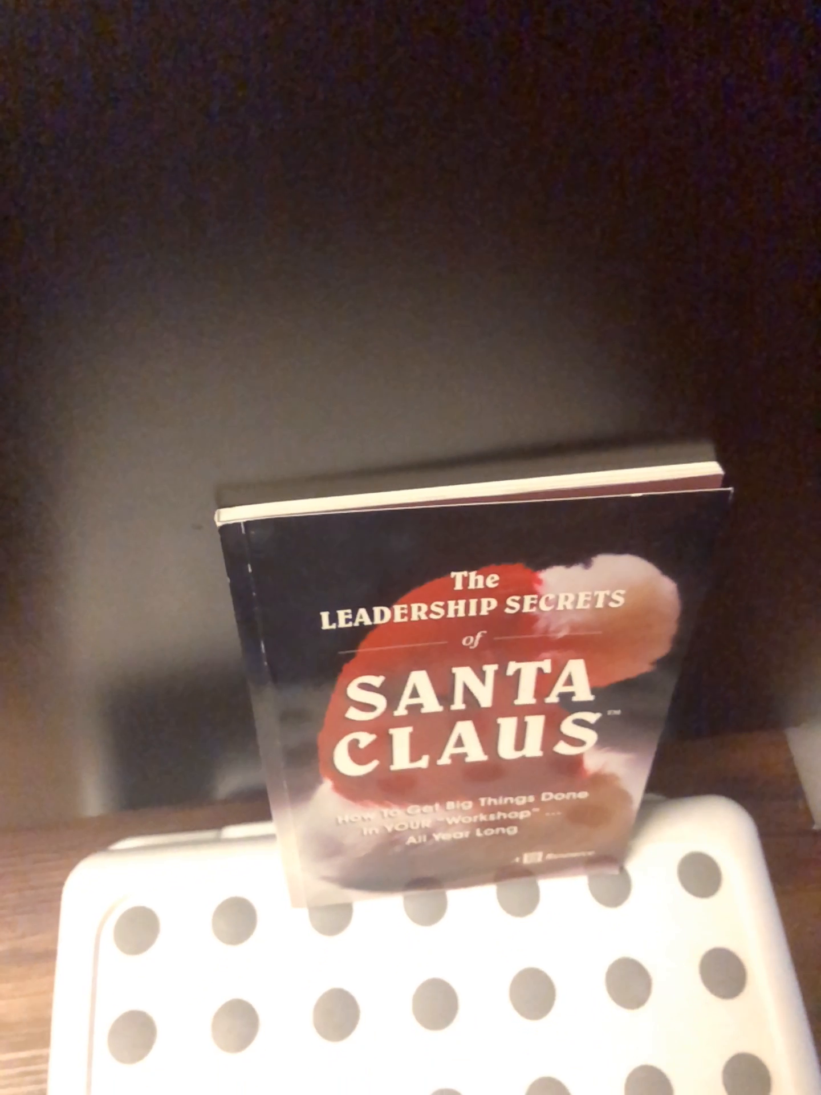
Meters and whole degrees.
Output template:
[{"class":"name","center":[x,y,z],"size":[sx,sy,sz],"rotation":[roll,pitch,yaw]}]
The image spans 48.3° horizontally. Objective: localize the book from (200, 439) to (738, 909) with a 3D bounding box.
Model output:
[{"class":"book","center":[0.020,0.063,0.344],"size":[0.160,0.225,0.010],"rotation":[-6,41,-6]}]
